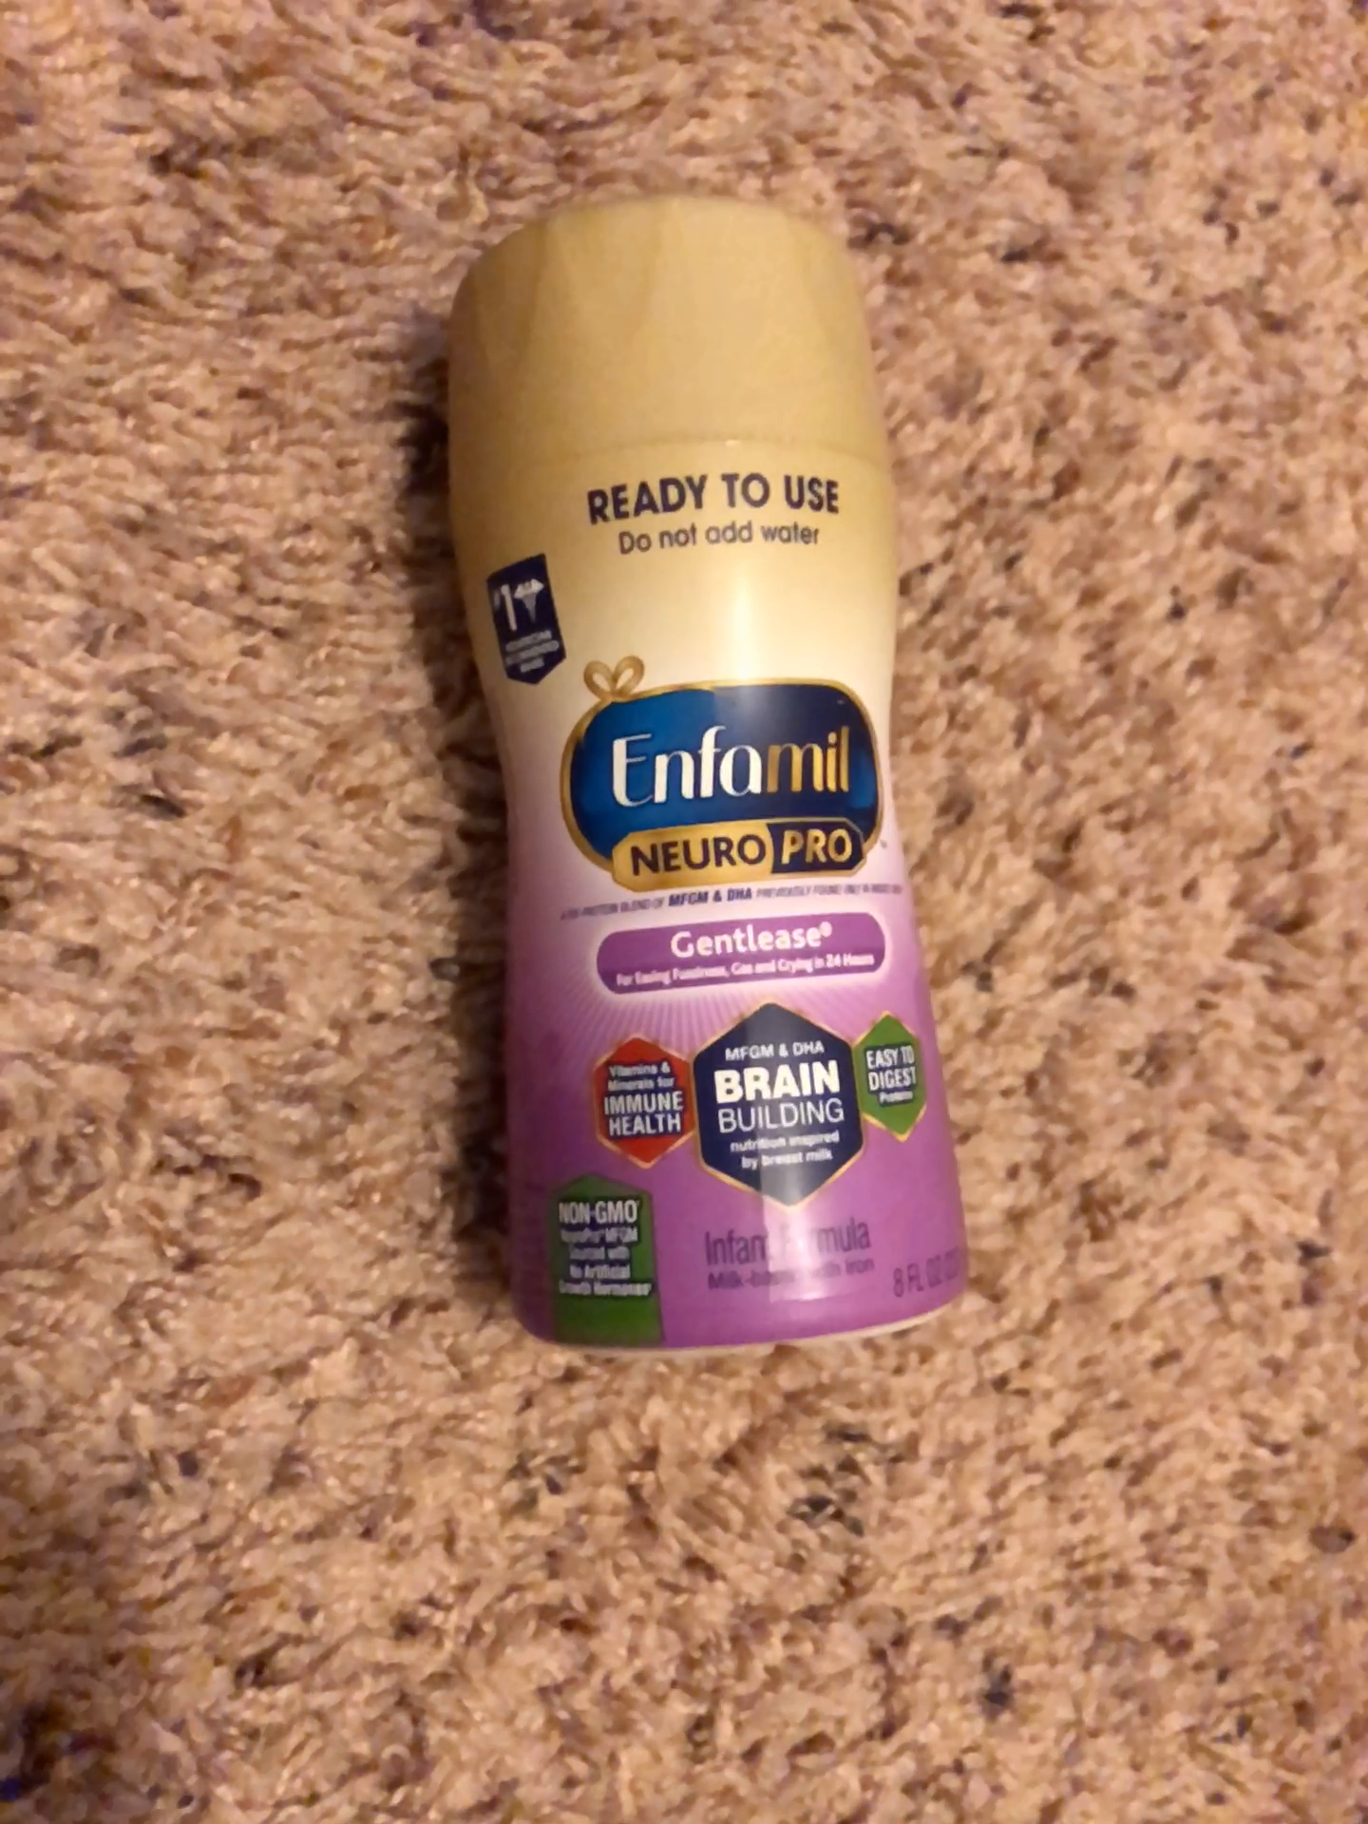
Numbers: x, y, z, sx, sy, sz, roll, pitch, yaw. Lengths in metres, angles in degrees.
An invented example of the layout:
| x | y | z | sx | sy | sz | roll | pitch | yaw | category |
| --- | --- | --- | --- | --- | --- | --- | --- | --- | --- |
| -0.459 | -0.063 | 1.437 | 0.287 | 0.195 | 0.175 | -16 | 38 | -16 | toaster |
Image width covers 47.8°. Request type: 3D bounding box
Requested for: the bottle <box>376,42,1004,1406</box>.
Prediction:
| x | y | z | sx | sy | sz | roll | pitch | yaw | category |
| --- | --- | --- | --- | --- | --- | --- | --- | --- | --- |
| 0.002 | -0.020 | 0.204 | 0.060 | 0.060 | 0.150 | -4 | 87 | 5 | bottle |
